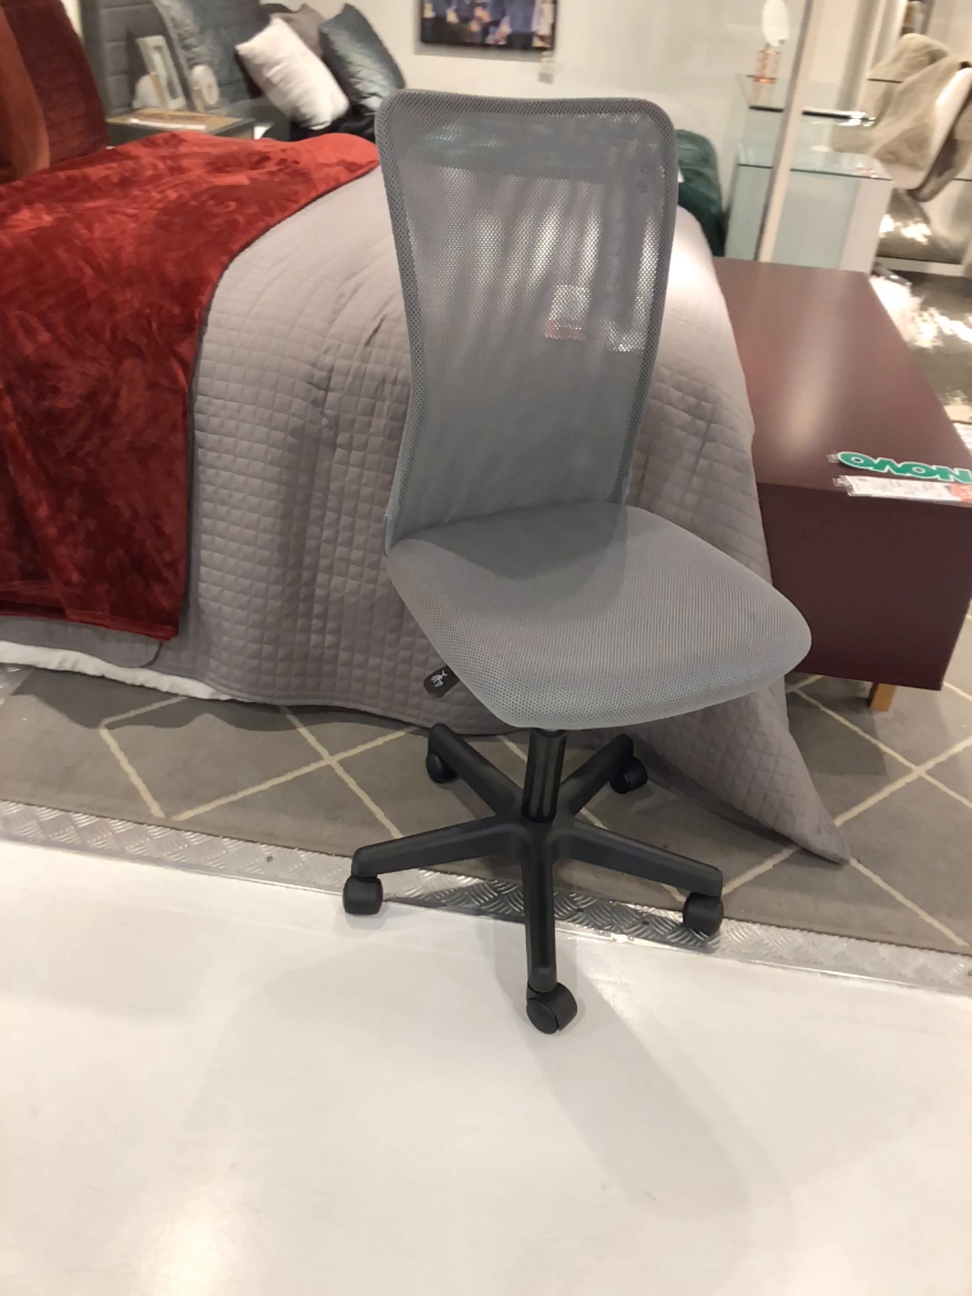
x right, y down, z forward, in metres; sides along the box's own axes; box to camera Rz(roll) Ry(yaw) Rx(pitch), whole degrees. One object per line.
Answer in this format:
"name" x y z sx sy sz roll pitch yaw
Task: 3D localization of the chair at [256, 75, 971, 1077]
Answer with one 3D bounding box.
"chair" 0.078 -0.118 1.299 0.561 0.942 0.644 -8 35 -19
